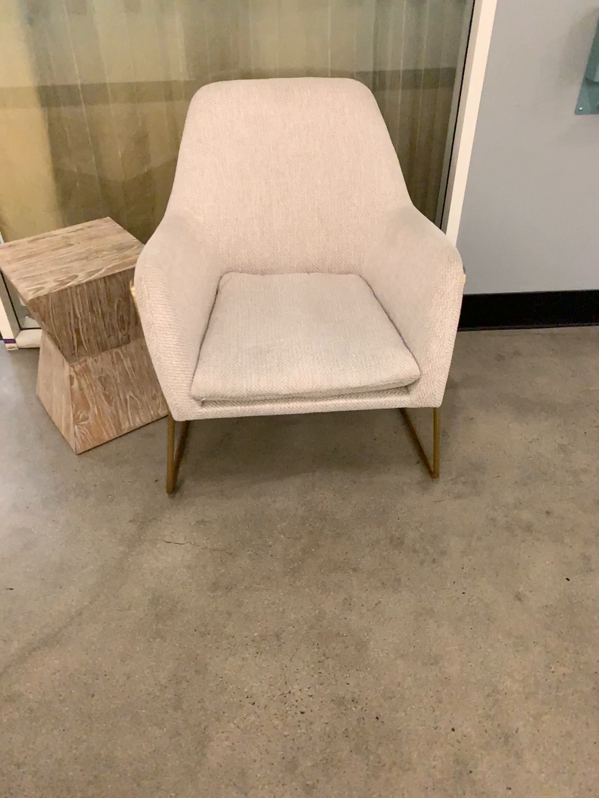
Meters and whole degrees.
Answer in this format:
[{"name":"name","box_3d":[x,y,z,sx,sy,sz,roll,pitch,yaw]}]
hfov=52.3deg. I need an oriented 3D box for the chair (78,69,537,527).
[{"name":"chair","box_3d":[-0.015,-0.304,1.591,0.750,0.815,0.886,-3,39,-4]}]
